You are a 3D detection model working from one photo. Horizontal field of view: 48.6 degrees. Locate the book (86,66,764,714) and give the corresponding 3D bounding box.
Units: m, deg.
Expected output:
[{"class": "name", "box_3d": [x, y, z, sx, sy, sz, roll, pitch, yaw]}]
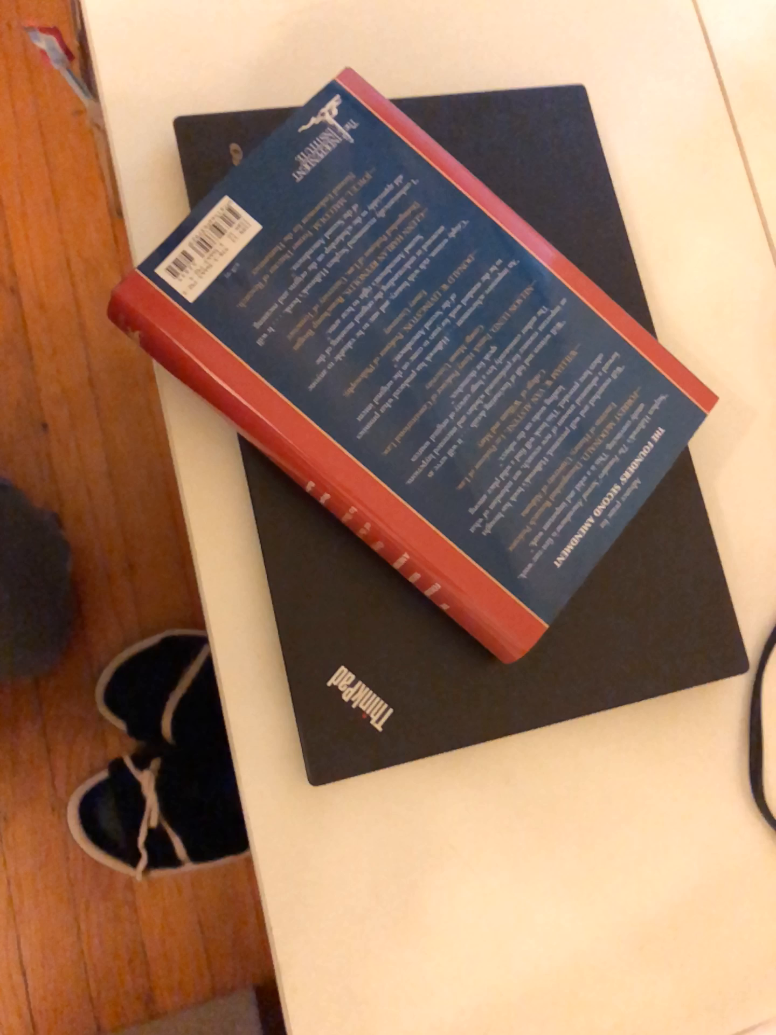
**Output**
[{"class": "book", "box_3d": [0.021, -0.060, 0.380, 0.240, 0.040, 0.170, 42, 72, 1]}]
